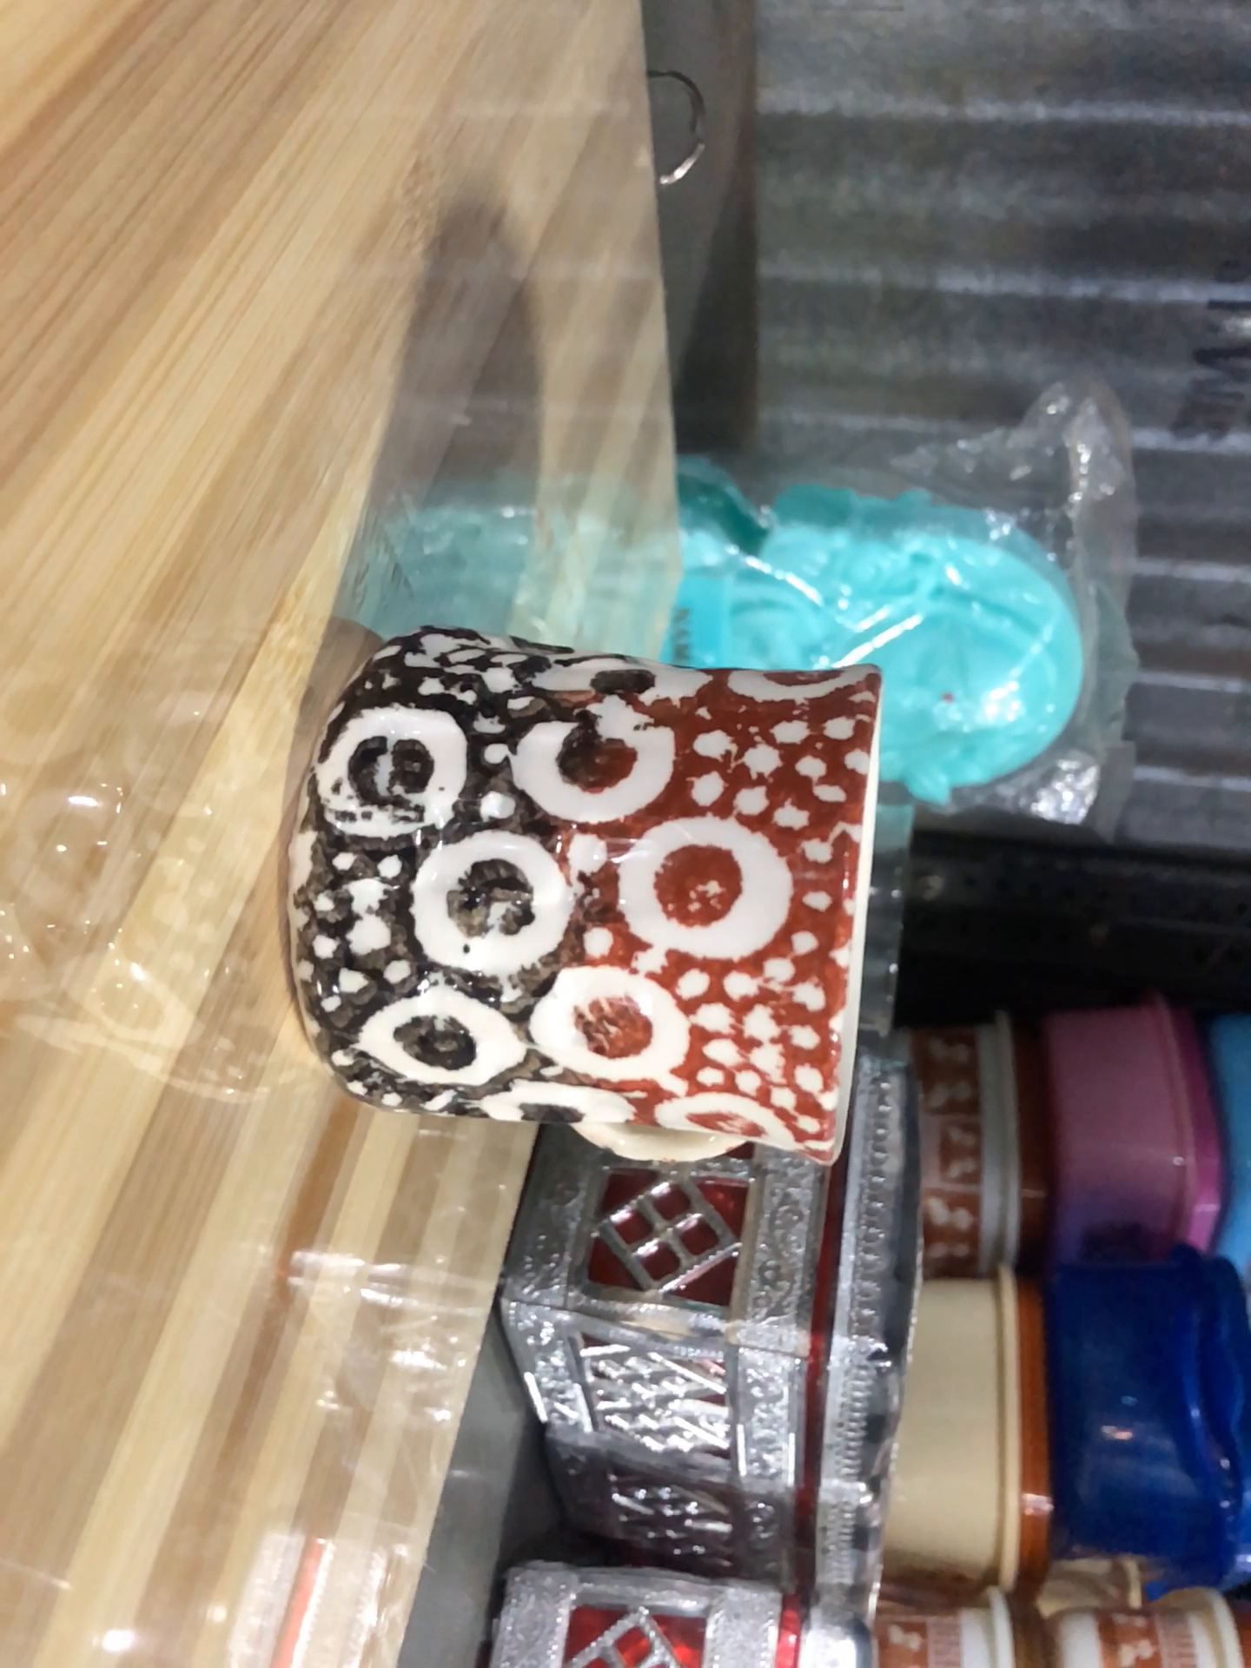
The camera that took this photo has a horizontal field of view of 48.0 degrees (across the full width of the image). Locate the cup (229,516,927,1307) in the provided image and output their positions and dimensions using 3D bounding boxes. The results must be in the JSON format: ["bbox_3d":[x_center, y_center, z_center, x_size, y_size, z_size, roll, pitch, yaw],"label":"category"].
[{"bbox_3d":[0.001,0.013,0.195,0.090,0.070,0.060,85,14,-47],"label":"cup"}]
